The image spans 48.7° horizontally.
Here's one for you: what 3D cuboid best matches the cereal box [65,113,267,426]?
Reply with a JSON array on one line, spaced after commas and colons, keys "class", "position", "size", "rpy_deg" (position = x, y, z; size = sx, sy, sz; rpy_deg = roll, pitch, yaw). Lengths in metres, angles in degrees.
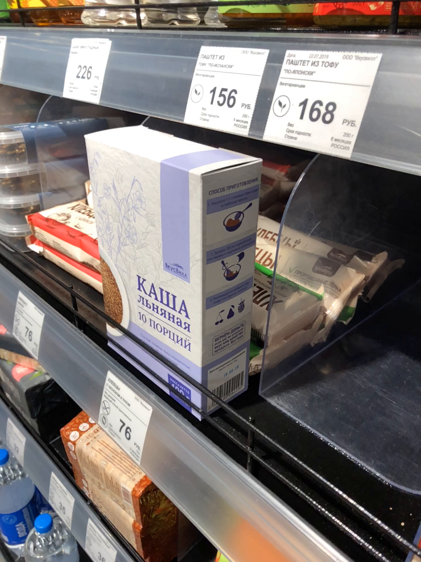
[{"class": "cereal box", "position": [-0.037, -0.015, 0.349], "size": [0.050, 0.189, 0.150], "rpy_deg": [-23, 36, -37]}]
